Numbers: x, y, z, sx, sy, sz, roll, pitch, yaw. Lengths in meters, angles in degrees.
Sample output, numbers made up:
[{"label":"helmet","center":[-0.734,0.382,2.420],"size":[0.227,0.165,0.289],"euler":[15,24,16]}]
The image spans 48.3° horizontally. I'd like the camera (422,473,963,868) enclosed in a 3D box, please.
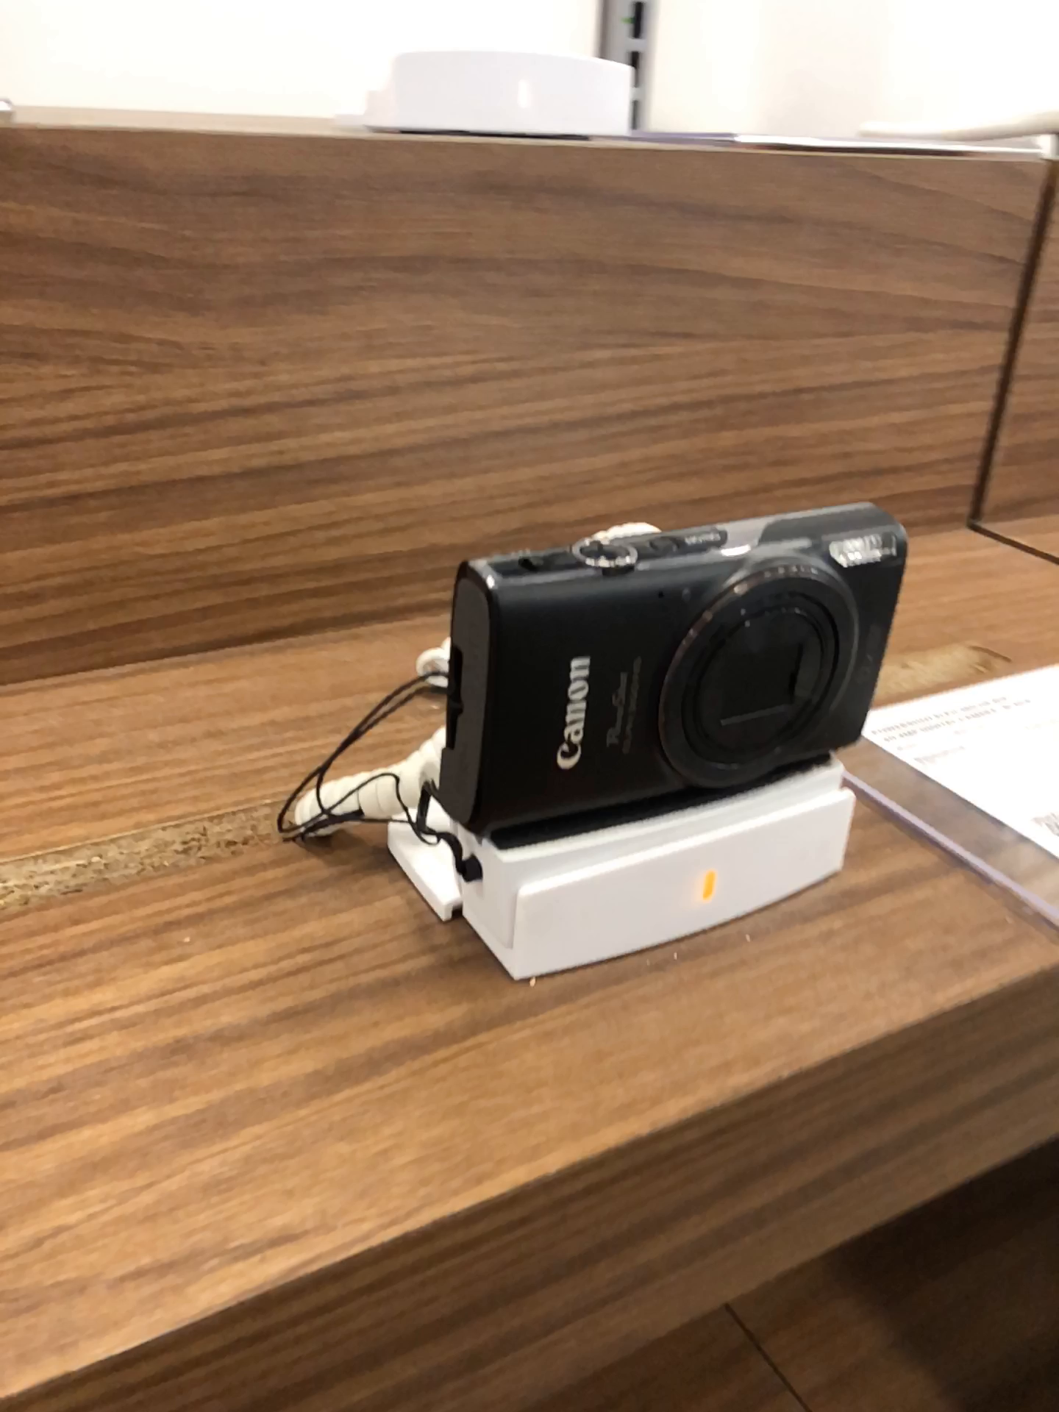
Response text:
[{"label":"camera","center":[0.034,-0.010,0.238],"size":[0.110,0.060,0.020],"euler":[-11,33,-28]}]
